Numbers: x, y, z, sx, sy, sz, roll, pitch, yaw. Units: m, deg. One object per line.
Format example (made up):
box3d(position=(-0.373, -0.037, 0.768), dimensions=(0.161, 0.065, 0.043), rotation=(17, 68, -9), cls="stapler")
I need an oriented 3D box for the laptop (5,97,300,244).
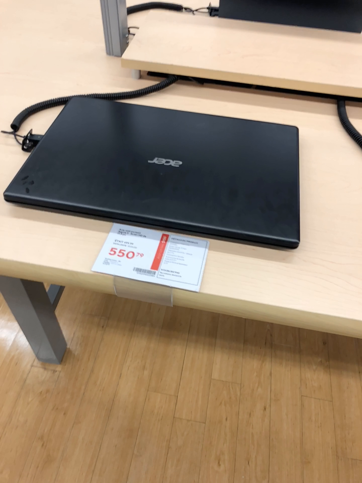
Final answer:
box3d(position=(-0.025, -0.133, 0.631), dimensions=(0.416, 0.001, 0.268), rotation=(10, 50, 6), cls="laptop")
